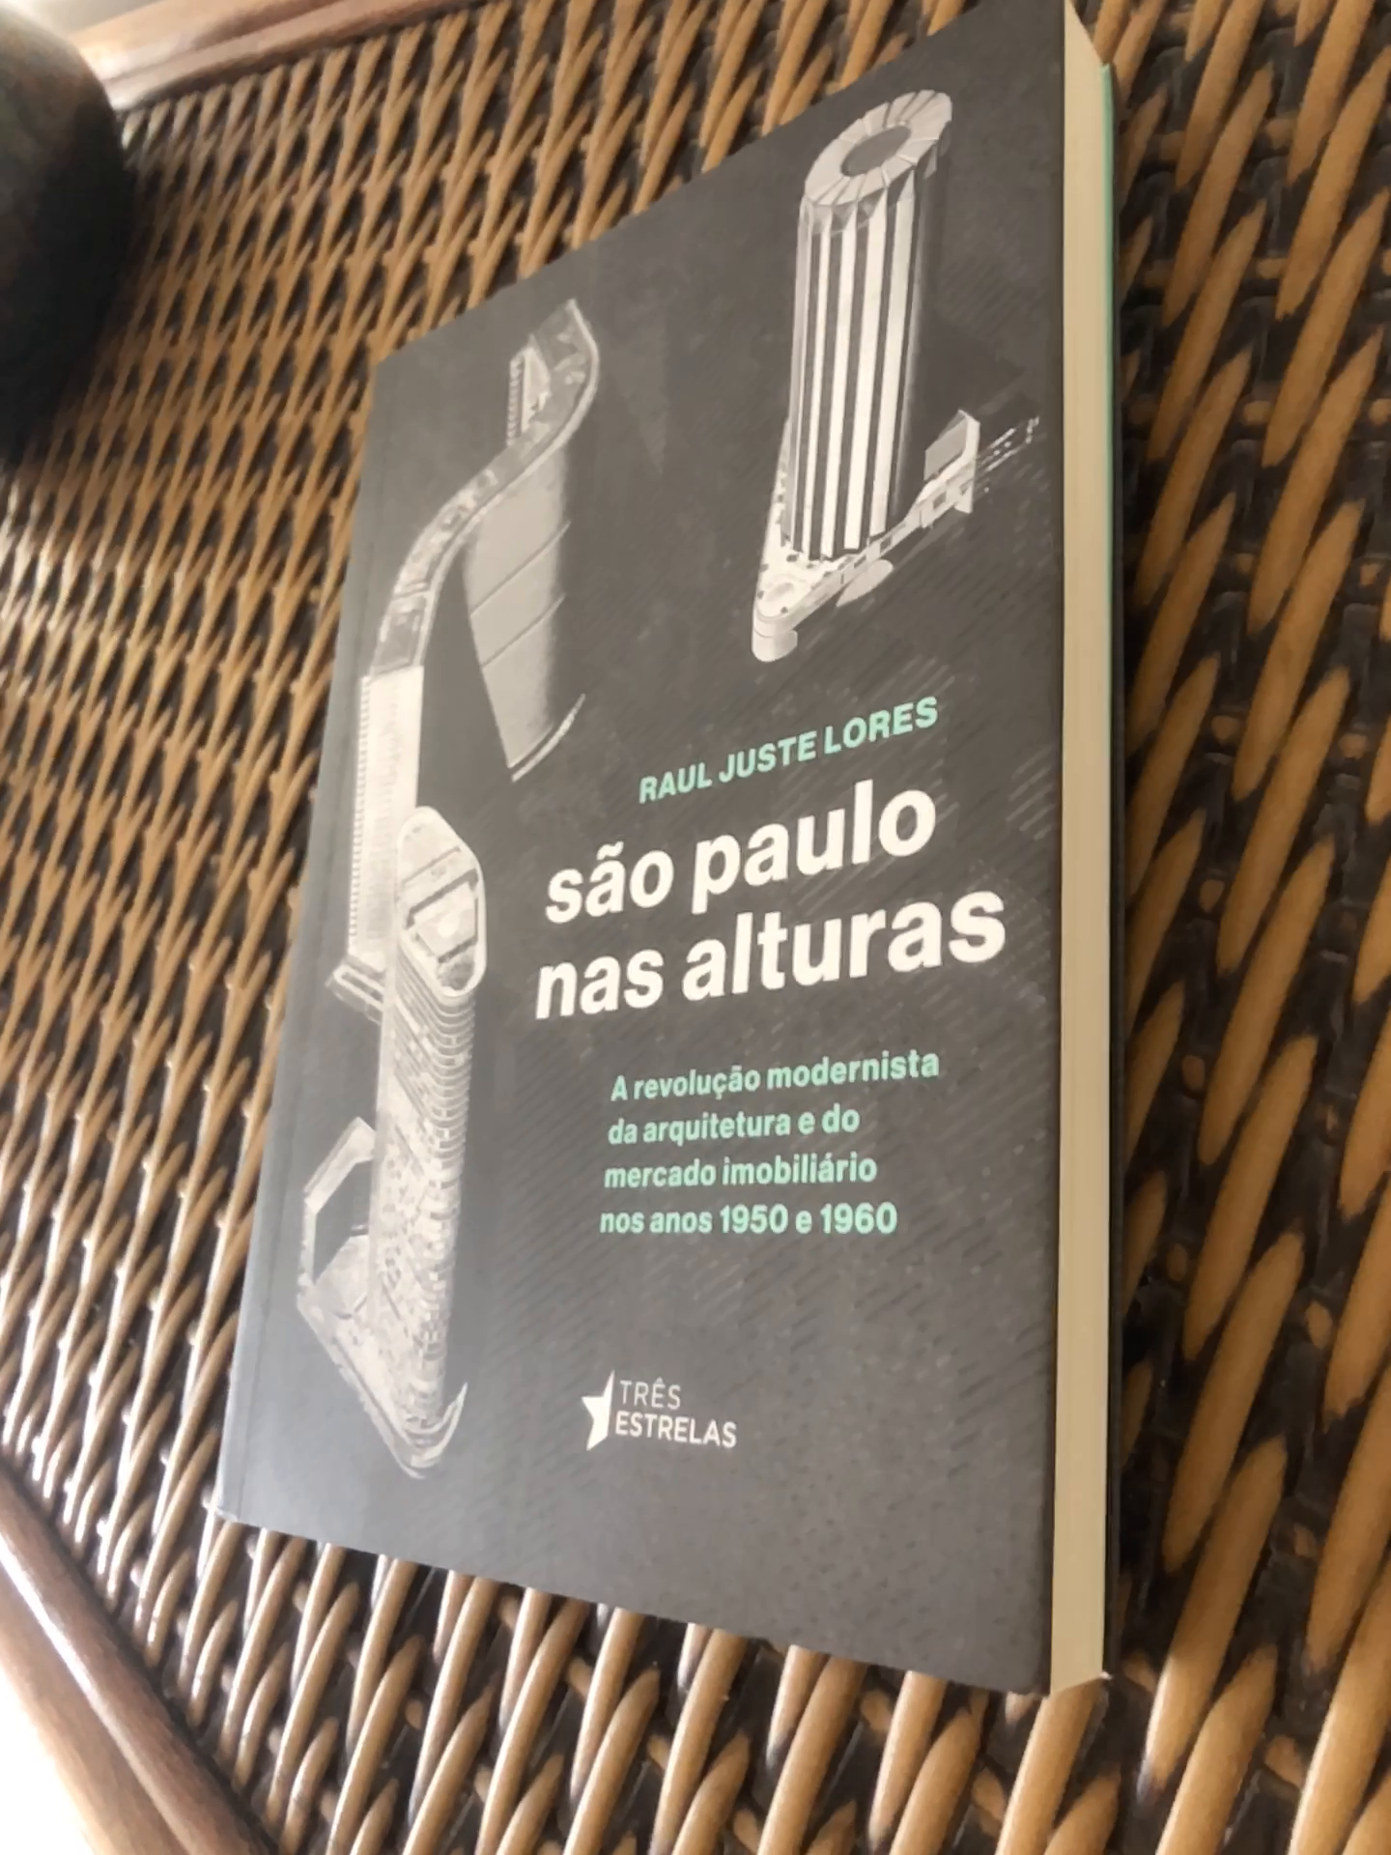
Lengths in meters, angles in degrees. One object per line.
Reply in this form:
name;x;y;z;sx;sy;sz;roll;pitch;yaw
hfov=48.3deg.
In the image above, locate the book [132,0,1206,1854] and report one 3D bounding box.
book;-0.011;-0.014;0.229;0.161;0.030;0.221;-5;75;41
